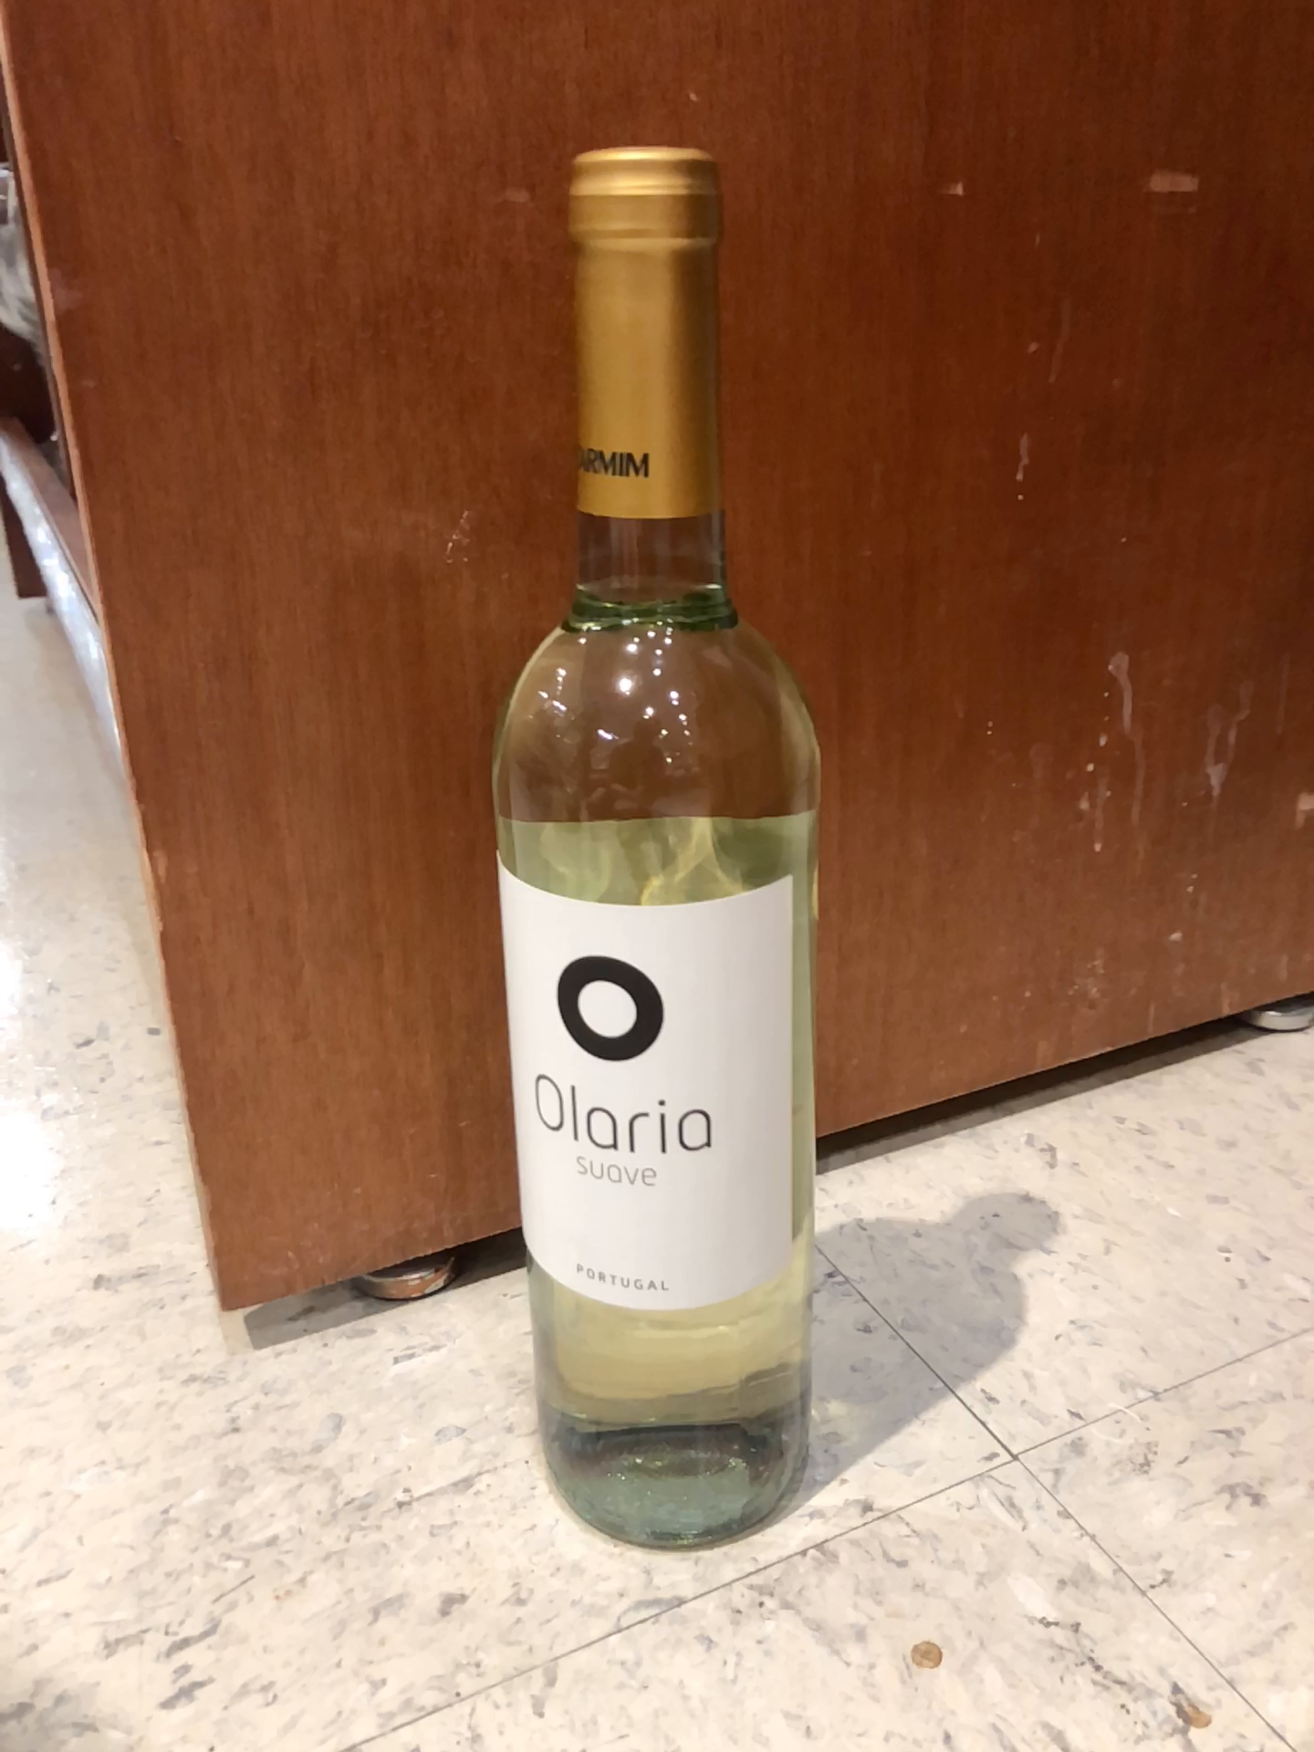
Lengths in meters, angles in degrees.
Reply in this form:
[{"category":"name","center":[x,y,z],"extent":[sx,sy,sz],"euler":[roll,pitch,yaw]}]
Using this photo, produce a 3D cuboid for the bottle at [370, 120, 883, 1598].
[{"category":"bottle","center":[0.003,0.011,0.331],"extent":[0.080,0.318,0.070],"euler":[4,23,14]}]
